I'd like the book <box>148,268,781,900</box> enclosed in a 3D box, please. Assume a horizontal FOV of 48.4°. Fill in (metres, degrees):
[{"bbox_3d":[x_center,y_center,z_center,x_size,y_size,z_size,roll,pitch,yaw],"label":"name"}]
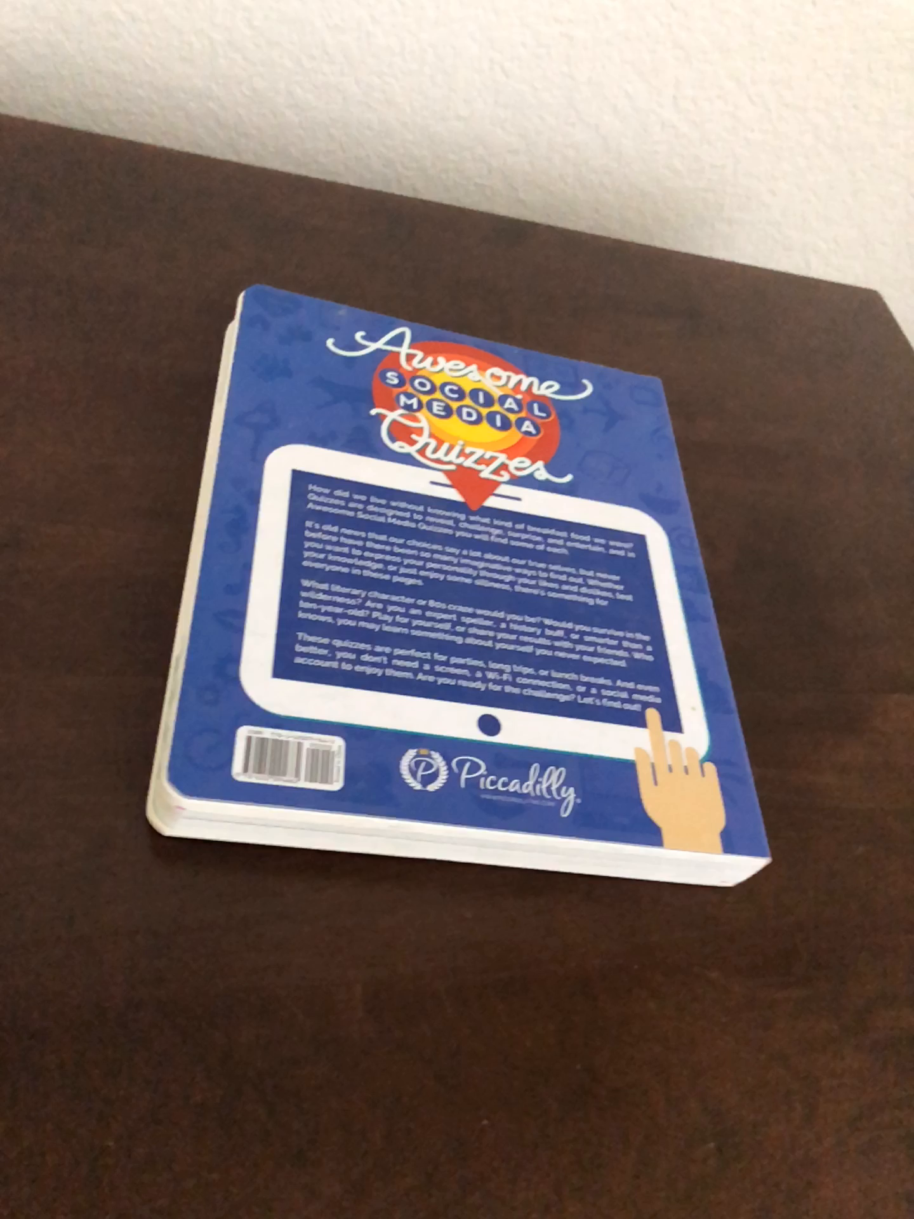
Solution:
[{"bbox_3d":[0.003,-0.017,0.328,0.166,0.030,0.201,10,52,-15],"label":"book"}]
